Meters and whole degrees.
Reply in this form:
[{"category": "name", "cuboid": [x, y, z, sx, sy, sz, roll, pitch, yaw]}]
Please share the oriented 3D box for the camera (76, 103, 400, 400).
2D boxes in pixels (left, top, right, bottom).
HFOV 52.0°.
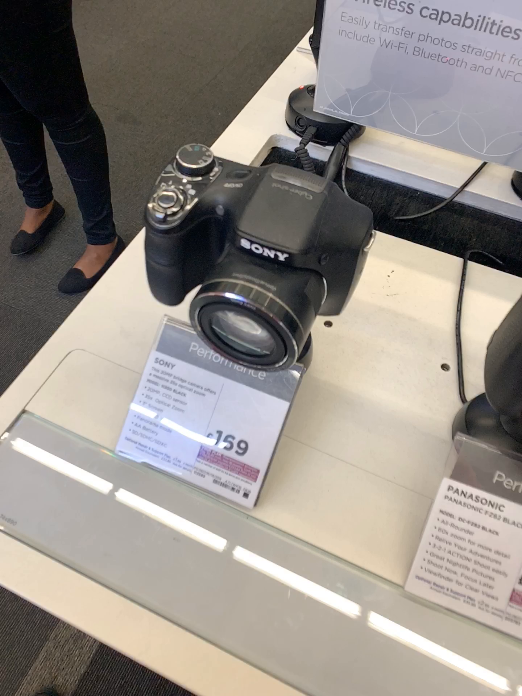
[{"category": "camera", "cuboid": [-0.010, -0.054, 0.294, 0.130, 0.089, 0.091, 21, 57, 12]}]
